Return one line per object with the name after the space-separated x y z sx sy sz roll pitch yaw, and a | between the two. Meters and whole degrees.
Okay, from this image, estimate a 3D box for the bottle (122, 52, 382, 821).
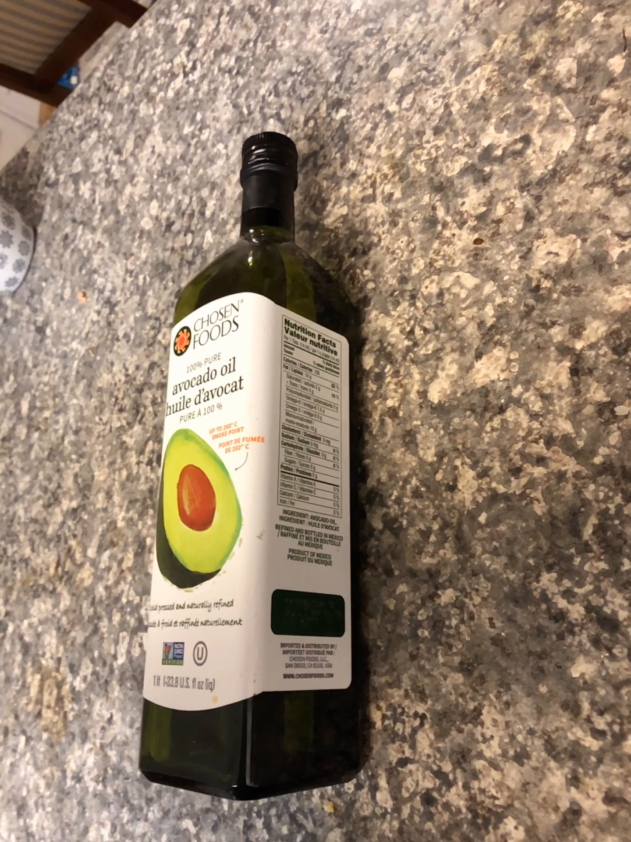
-0.029 -0.004 0.331 0.080 0.070 0.320 -17 67 42 | bottle
